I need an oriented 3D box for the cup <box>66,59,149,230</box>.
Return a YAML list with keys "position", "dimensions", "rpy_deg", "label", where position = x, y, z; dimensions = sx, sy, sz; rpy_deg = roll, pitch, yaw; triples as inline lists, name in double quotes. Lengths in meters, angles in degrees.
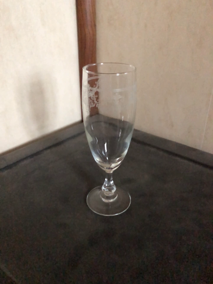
- position: [0.005, 0.005, 0.257]
  dimensions: [0.060, 0.169, 0.060]
  rpy_deg: [0, 28, 0]
  label: "cup"
